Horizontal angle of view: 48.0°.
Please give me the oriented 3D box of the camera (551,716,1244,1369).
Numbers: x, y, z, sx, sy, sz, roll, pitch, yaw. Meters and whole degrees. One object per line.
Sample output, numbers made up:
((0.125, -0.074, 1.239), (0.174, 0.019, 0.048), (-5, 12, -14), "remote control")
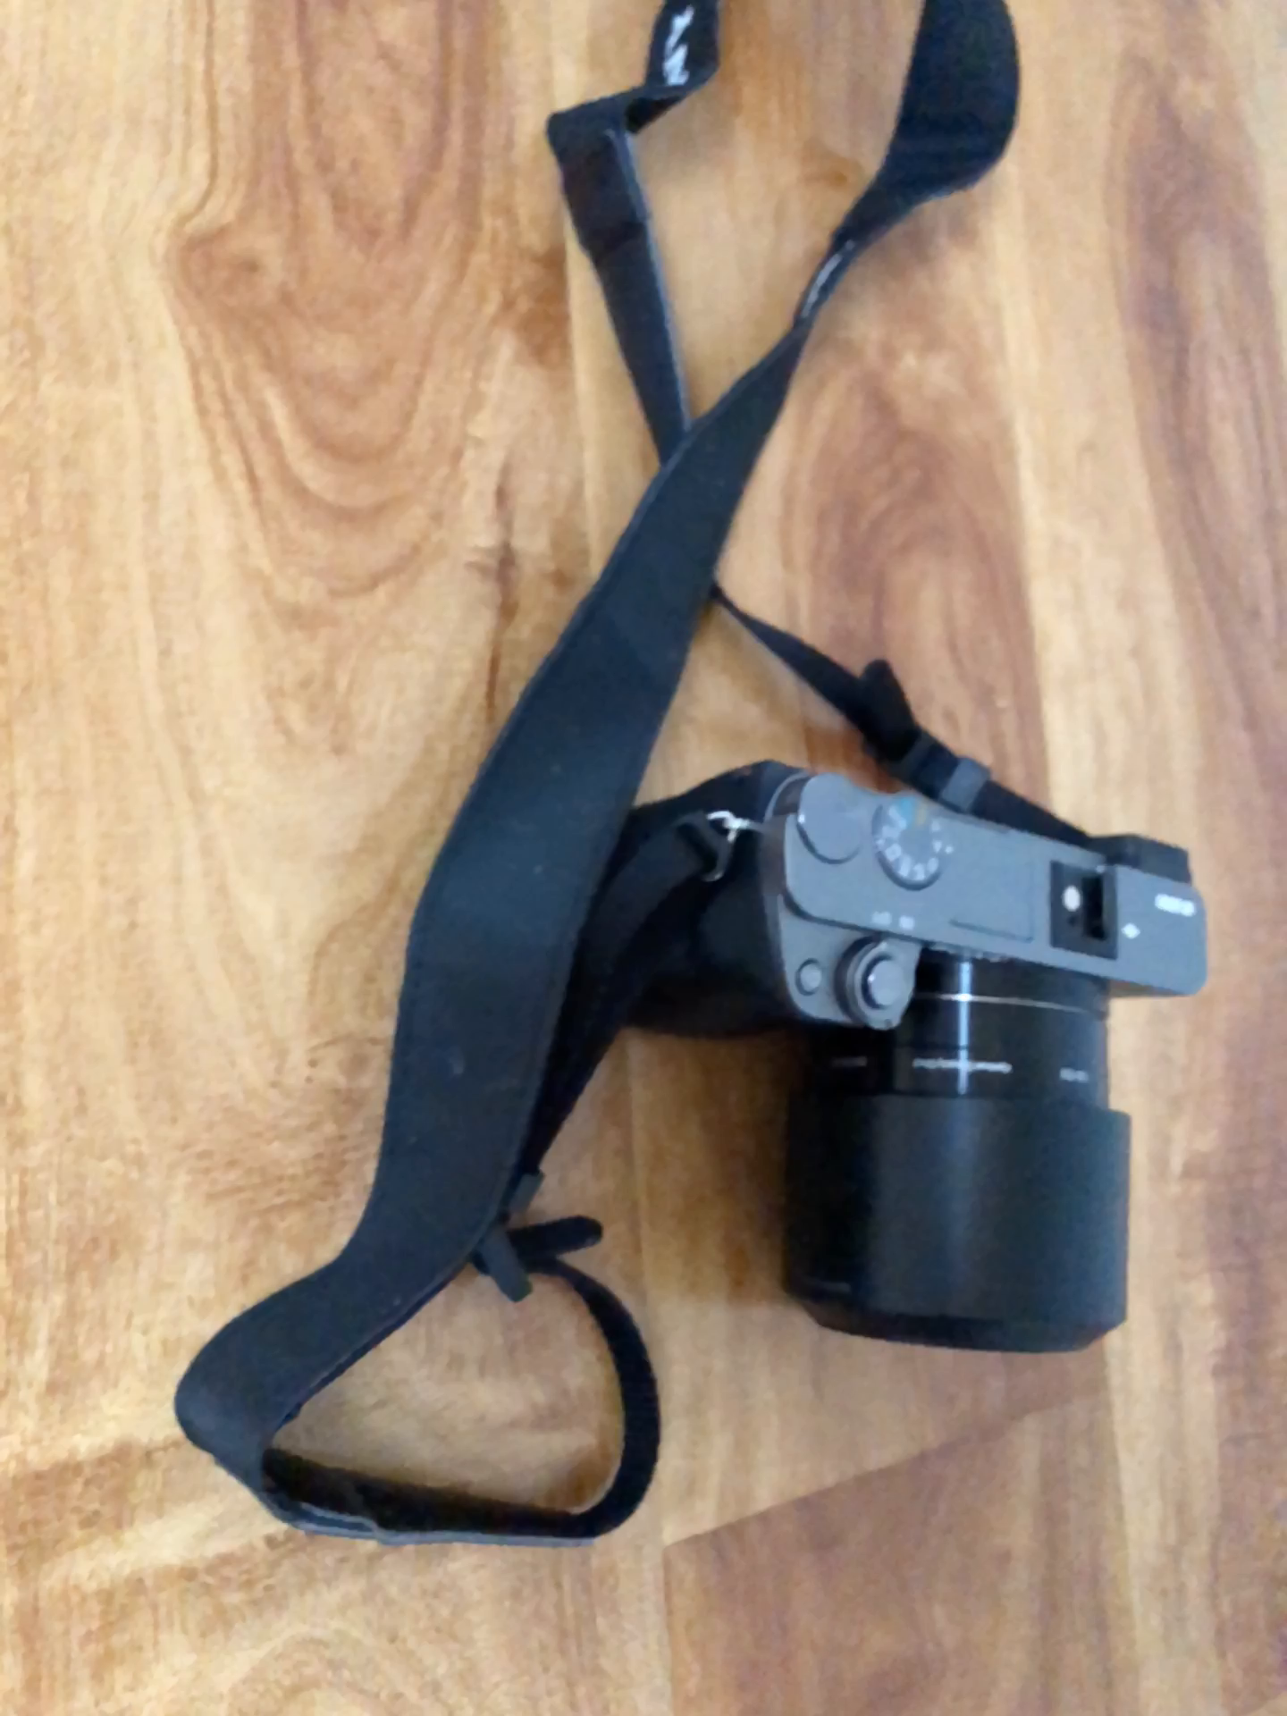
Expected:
((0.057, 0.043, 0.309), (0.131, 0.070, 0.110), (11, 76, -34), "camera")
